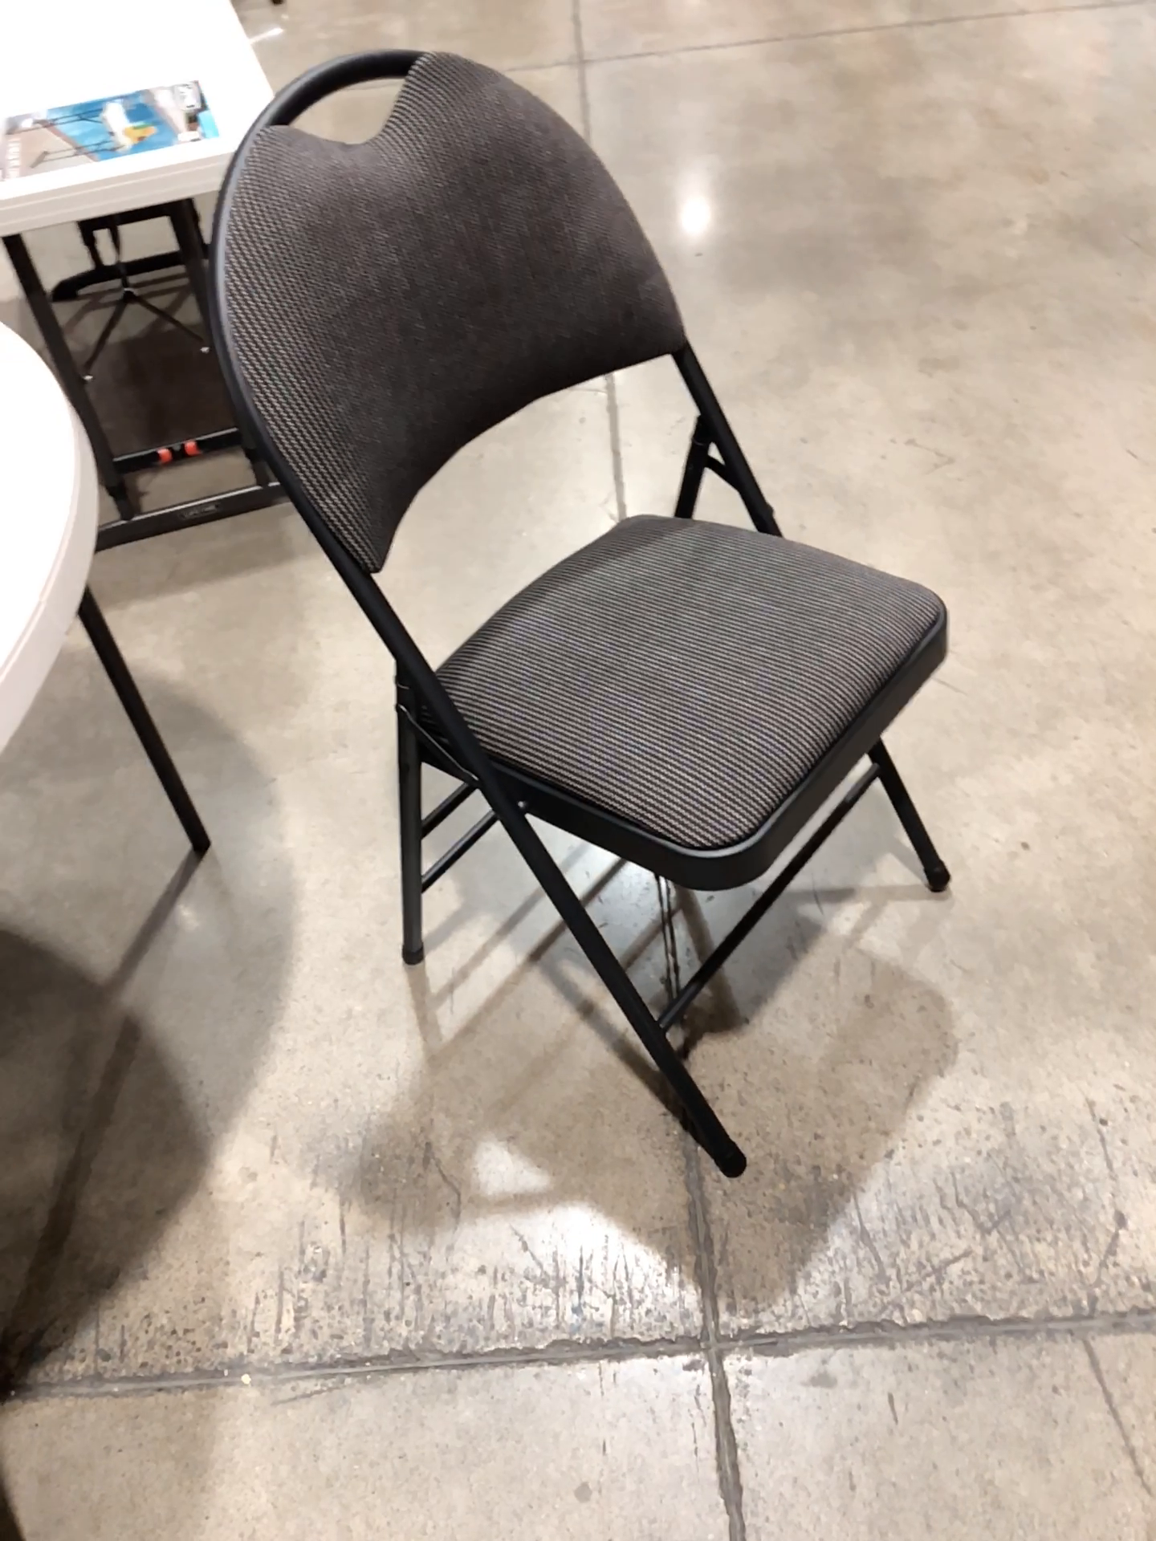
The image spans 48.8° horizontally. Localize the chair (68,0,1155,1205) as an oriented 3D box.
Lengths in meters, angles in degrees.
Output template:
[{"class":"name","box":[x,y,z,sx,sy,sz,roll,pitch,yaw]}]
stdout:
[{"class":"chair","box":[0.068,-0.159,1.155,0.561,0.857,0.511,28,55,30]}]
